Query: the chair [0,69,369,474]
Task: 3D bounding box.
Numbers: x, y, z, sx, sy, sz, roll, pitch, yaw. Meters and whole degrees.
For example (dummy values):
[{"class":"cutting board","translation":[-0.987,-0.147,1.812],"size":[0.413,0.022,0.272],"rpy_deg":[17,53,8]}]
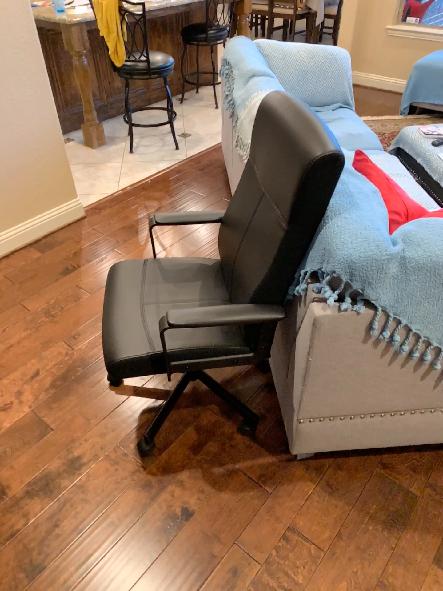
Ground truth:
[{"class":"chair","translation":[-0.122,-0.074,1.482],"size":[0.759,1.037,0.738],"rpy_deg":[-5,40,-5]}]
